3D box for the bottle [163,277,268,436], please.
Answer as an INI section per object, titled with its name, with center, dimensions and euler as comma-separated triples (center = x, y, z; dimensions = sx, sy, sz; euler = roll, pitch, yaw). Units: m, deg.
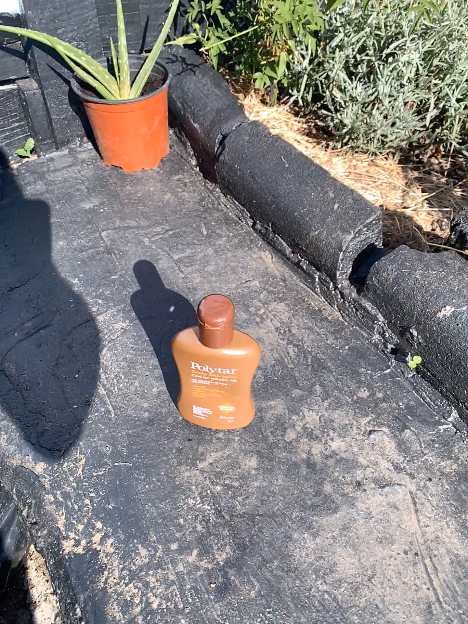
[bottle]
center = -0.014, 0.043, 0.392
dimensions = 0.070, 0.149, 0.040
euler = 4, 46, 2
